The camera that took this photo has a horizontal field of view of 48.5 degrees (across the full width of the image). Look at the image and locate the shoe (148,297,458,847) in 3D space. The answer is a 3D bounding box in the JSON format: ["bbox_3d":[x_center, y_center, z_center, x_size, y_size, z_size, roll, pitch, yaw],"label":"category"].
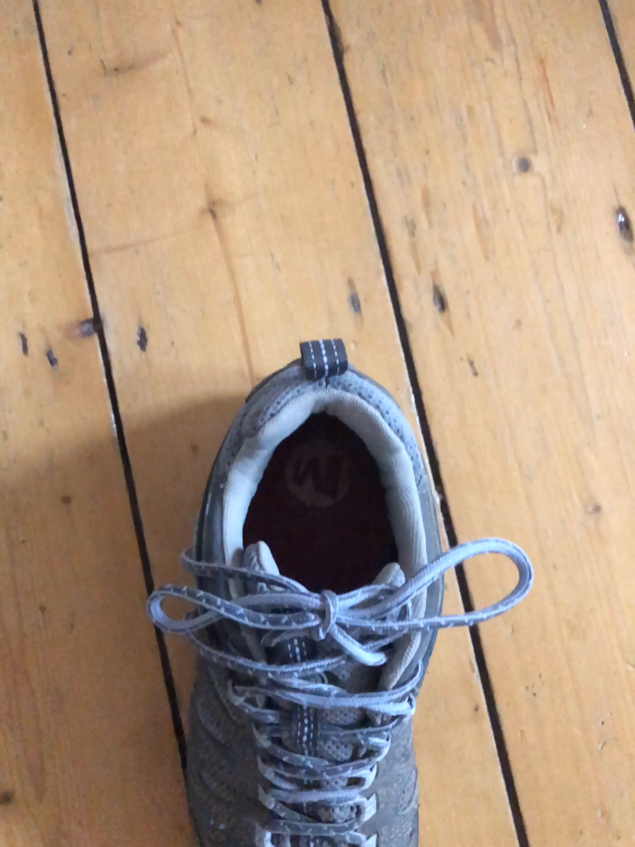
[{"bbox_3d":[-0.004,0.100,0.294,0.100,0.110,0.280,1,85,-1],"label":"shoe"}]
